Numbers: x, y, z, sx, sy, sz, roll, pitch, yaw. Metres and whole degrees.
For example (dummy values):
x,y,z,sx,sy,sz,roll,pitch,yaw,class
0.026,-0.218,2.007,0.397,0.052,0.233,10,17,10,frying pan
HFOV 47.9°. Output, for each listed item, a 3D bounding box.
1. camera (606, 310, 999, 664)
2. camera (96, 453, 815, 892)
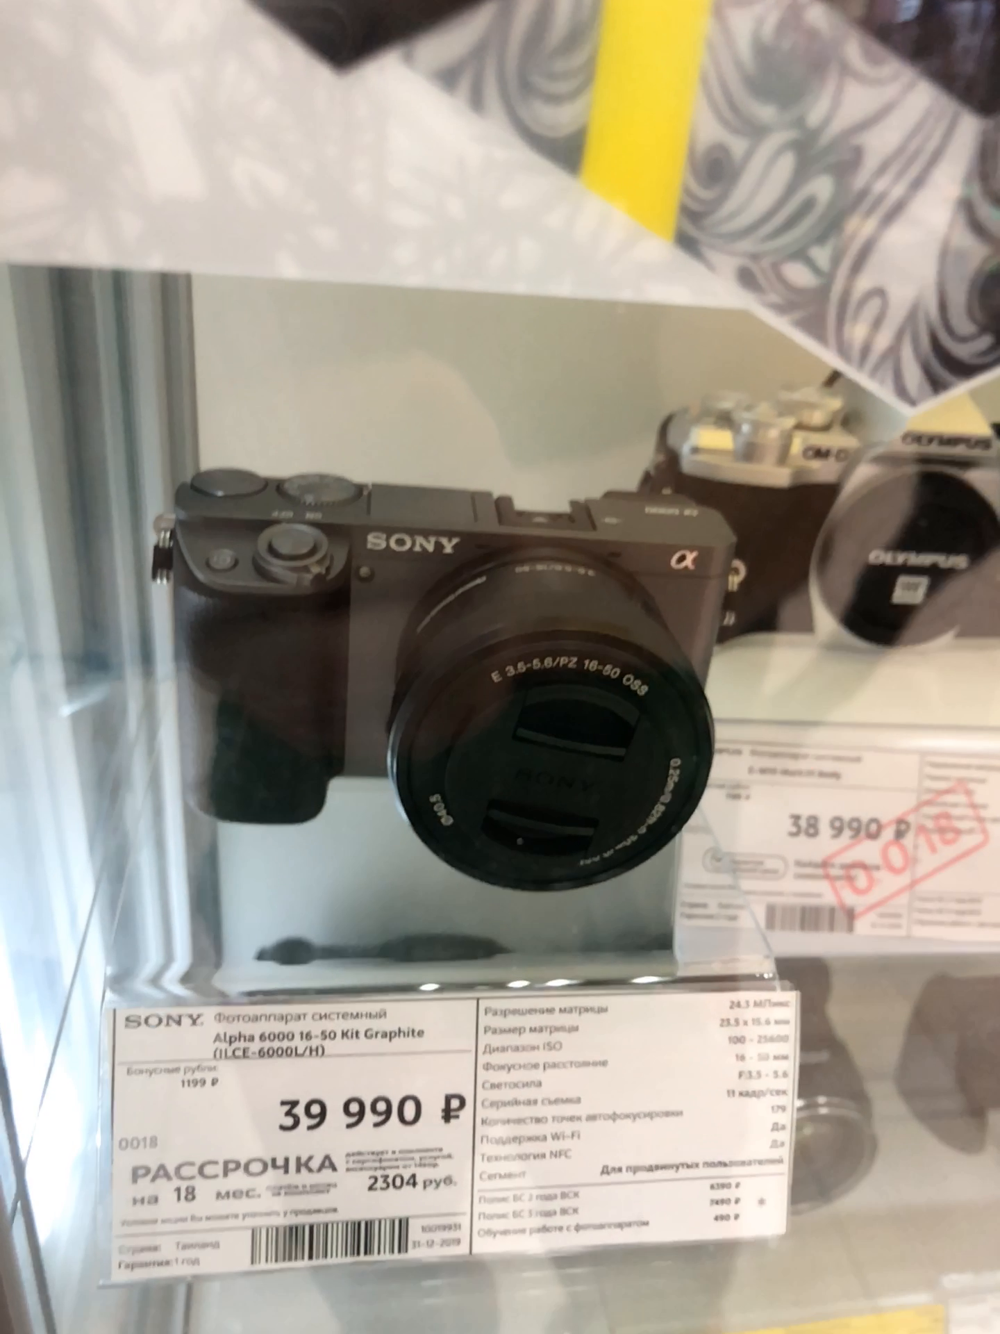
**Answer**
x,y,z,sx,sy,sz,roll,pitch,yaw,class
0.106,-0.059,0.357,0.122,0.081,0.088,1,29,-7,camera
-0.011,0.000,0.248,0.130,0.070,0.067,1,29,-7,camera
